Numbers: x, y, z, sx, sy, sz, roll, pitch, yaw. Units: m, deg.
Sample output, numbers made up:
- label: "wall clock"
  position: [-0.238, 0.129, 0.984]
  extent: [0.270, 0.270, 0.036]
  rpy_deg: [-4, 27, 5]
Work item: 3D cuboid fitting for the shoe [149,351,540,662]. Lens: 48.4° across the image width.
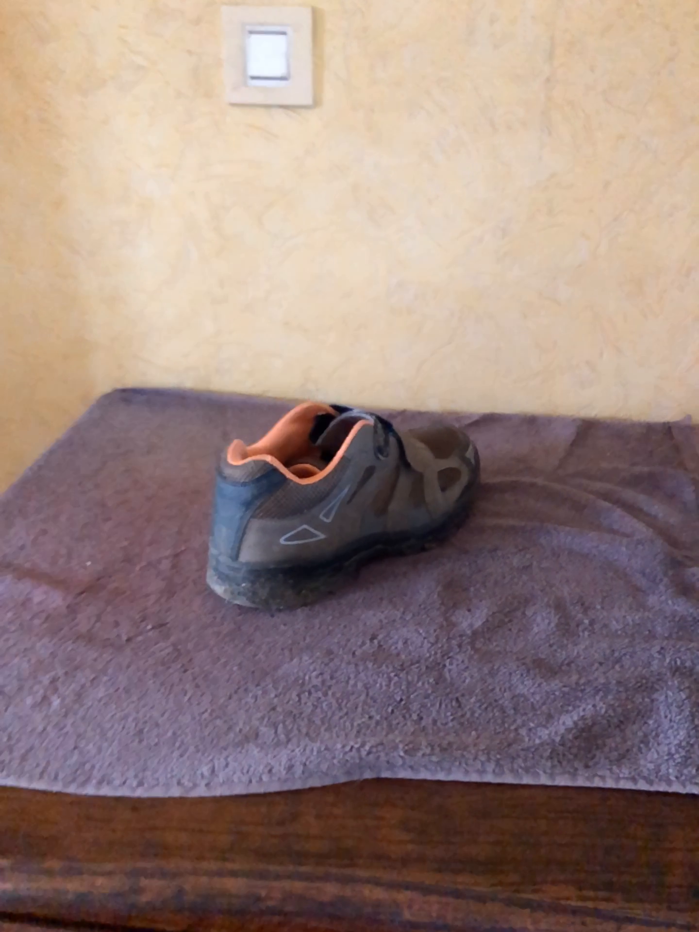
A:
- label: "shoe"
  position: [0.009, 0.009, 0.558]
  extent: [0.110, 0.099, 0.271]
  rpy_deg: [25, 36, 38]
